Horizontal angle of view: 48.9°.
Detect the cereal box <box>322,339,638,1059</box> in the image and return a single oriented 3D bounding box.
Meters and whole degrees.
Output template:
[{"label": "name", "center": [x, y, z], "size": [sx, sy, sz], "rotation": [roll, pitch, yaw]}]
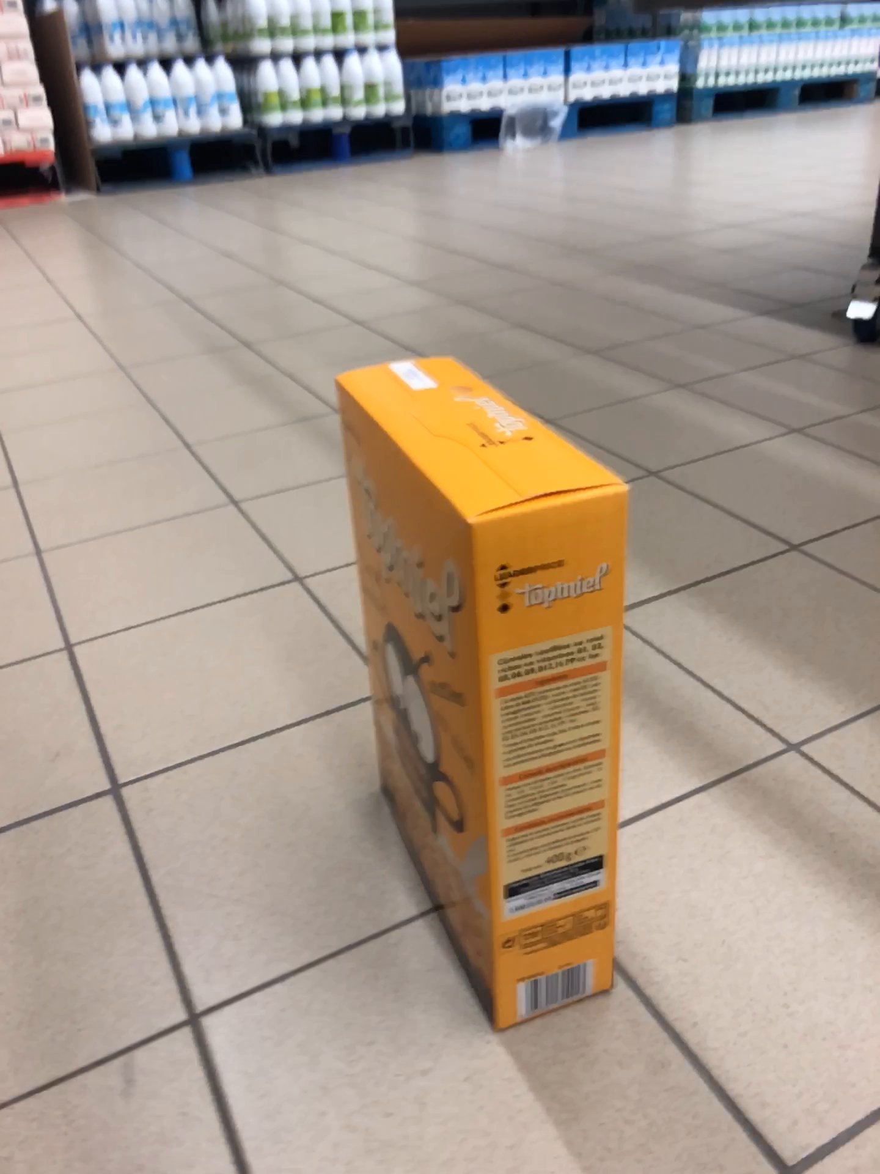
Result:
[{"label": "cereal box", "center": [0.011, 0.042, 0.469], "size": [0.060, 0.269, 0.211], "rotation": [-12, 29, -15]}]
